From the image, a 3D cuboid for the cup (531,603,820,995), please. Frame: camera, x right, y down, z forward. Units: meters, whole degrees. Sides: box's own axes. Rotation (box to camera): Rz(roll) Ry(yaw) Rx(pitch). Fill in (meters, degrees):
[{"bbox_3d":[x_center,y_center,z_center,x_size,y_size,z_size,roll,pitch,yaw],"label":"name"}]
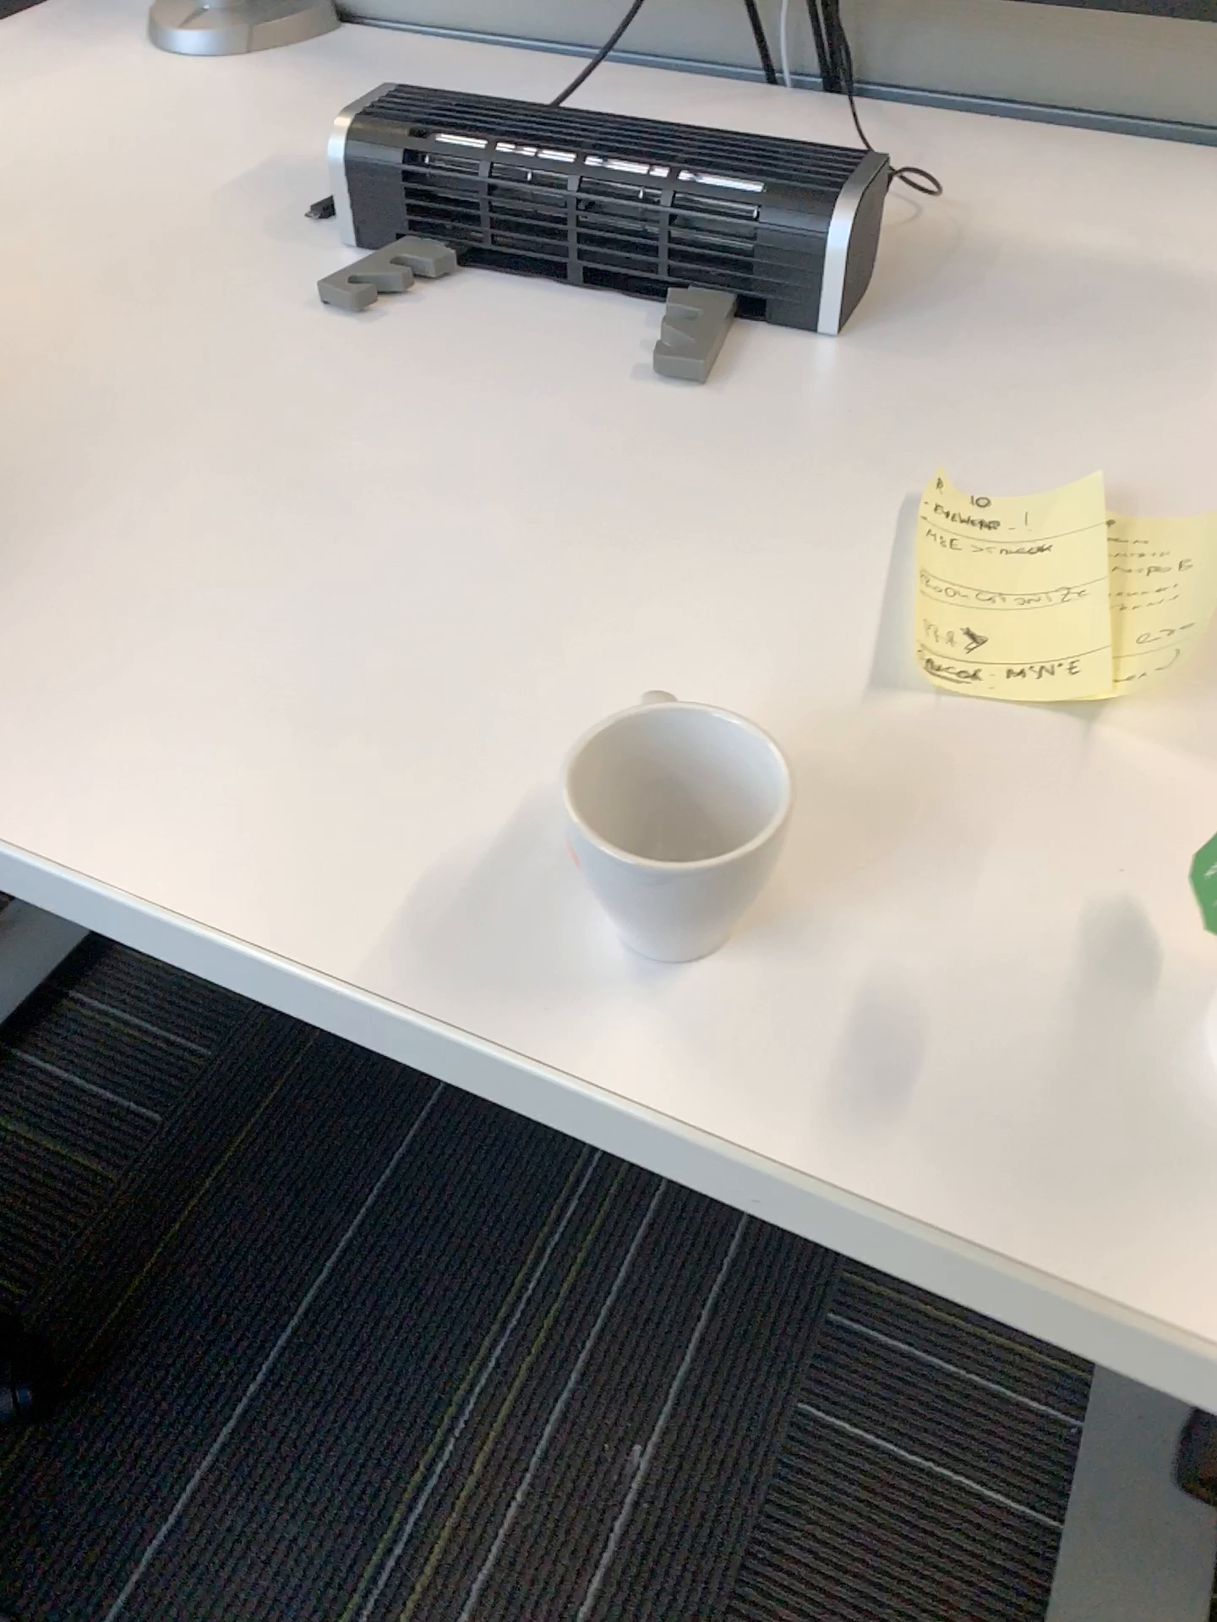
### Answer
[{"bbox_3d":[0.016,-0.006,0.381,0.070,0.060,0.101,-5,47,-3],"label":"cup"}]
